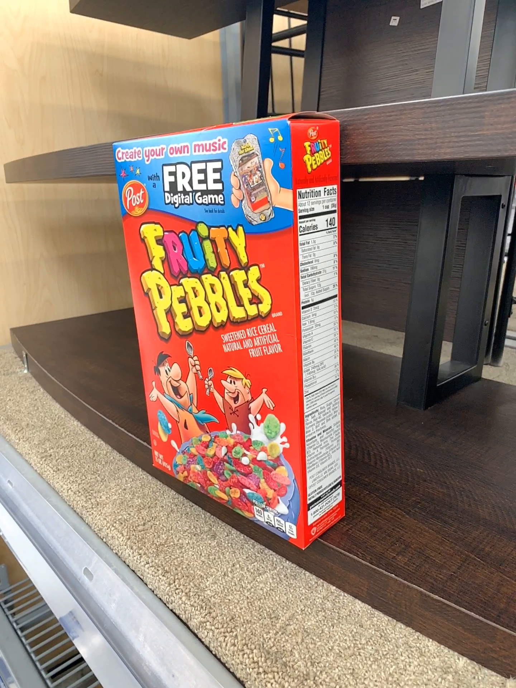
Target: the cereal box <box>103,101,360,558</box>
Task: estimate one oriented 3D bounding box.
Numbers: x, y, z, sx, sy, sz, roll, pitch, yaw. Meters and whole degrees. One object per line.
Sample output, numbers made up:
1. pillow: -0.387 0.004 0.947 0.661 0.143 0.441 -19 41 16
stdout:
1. cereal box: -0.025 -0.017 0.435 0.211 0.309 0.060 14 24 42
